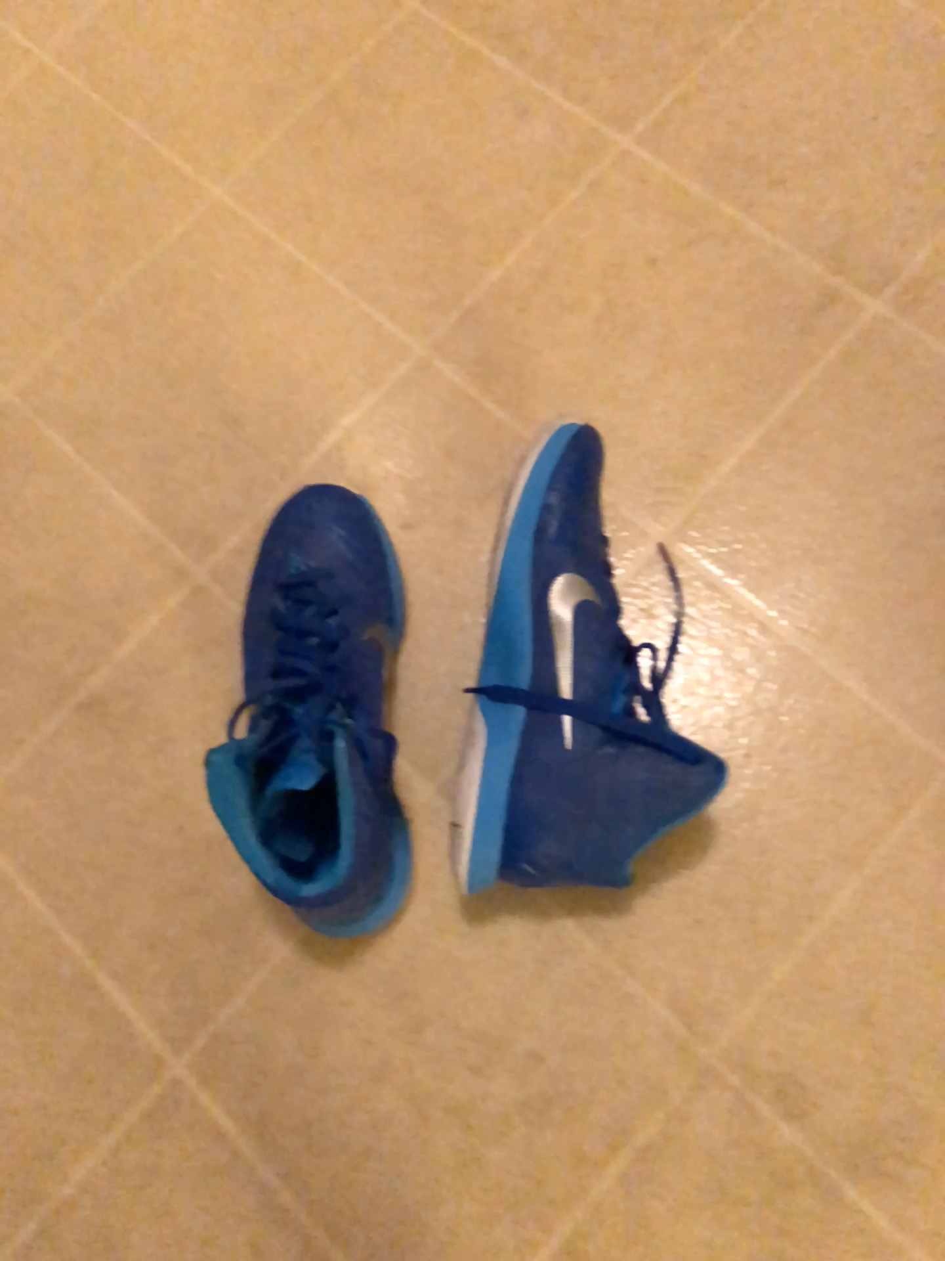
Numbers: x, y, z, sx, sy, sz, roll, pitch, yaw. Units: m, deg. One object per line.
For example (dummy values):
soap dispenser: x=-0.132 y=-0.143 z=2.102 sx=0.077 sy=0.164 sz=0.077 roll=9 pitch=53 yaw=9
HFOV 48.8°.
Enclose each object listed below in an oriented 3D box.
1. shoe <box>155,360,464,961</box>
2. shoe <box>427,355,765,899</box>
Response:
shoe: x=-0.094 y=0.024 z=0.615 sx=0.120 sy=0.145 sz=0.310 roll=-9 pitch=72 yaw=6
shoe: x=0.073 y=0.001 z=0.602 sx=0.159 sy=0.120 sz=0.282 roll=4 pitch=74 yaw=4
